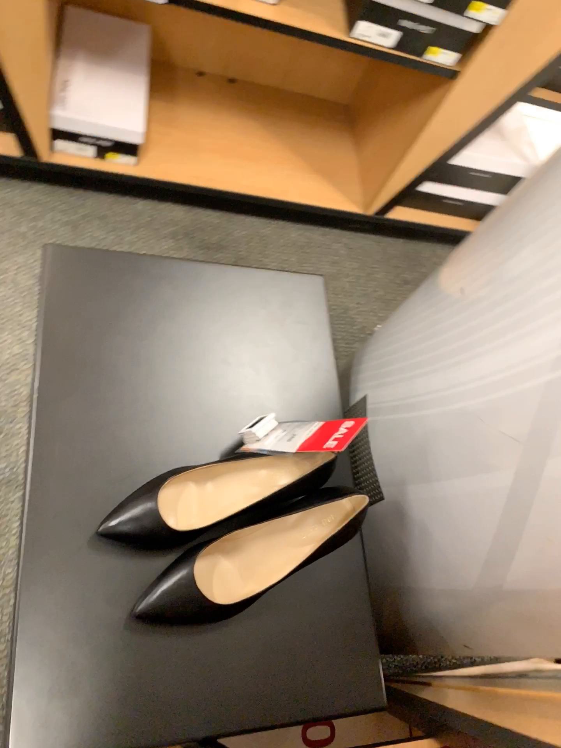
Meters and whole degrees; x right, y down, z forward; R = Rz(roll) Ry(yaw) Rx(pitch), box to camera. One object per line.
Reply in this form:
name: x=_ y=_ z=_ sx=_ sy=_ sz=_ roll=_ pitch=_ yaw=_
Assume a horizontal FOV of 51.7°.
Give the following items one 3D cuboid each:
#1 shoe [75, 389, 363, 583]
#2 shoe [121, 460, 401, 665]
shoe: x=-0.076 y=0.121 z=0.615 sx=0.250 sy=0.190 sz=0.100 roll=-11 pitch=70 yaw=-25
shoe: x=-0.031 y=0.210 z=0.645 sx=0.250 sy=0.190 sz=0.100 roll=-17 pitch=73 yaw=-26
